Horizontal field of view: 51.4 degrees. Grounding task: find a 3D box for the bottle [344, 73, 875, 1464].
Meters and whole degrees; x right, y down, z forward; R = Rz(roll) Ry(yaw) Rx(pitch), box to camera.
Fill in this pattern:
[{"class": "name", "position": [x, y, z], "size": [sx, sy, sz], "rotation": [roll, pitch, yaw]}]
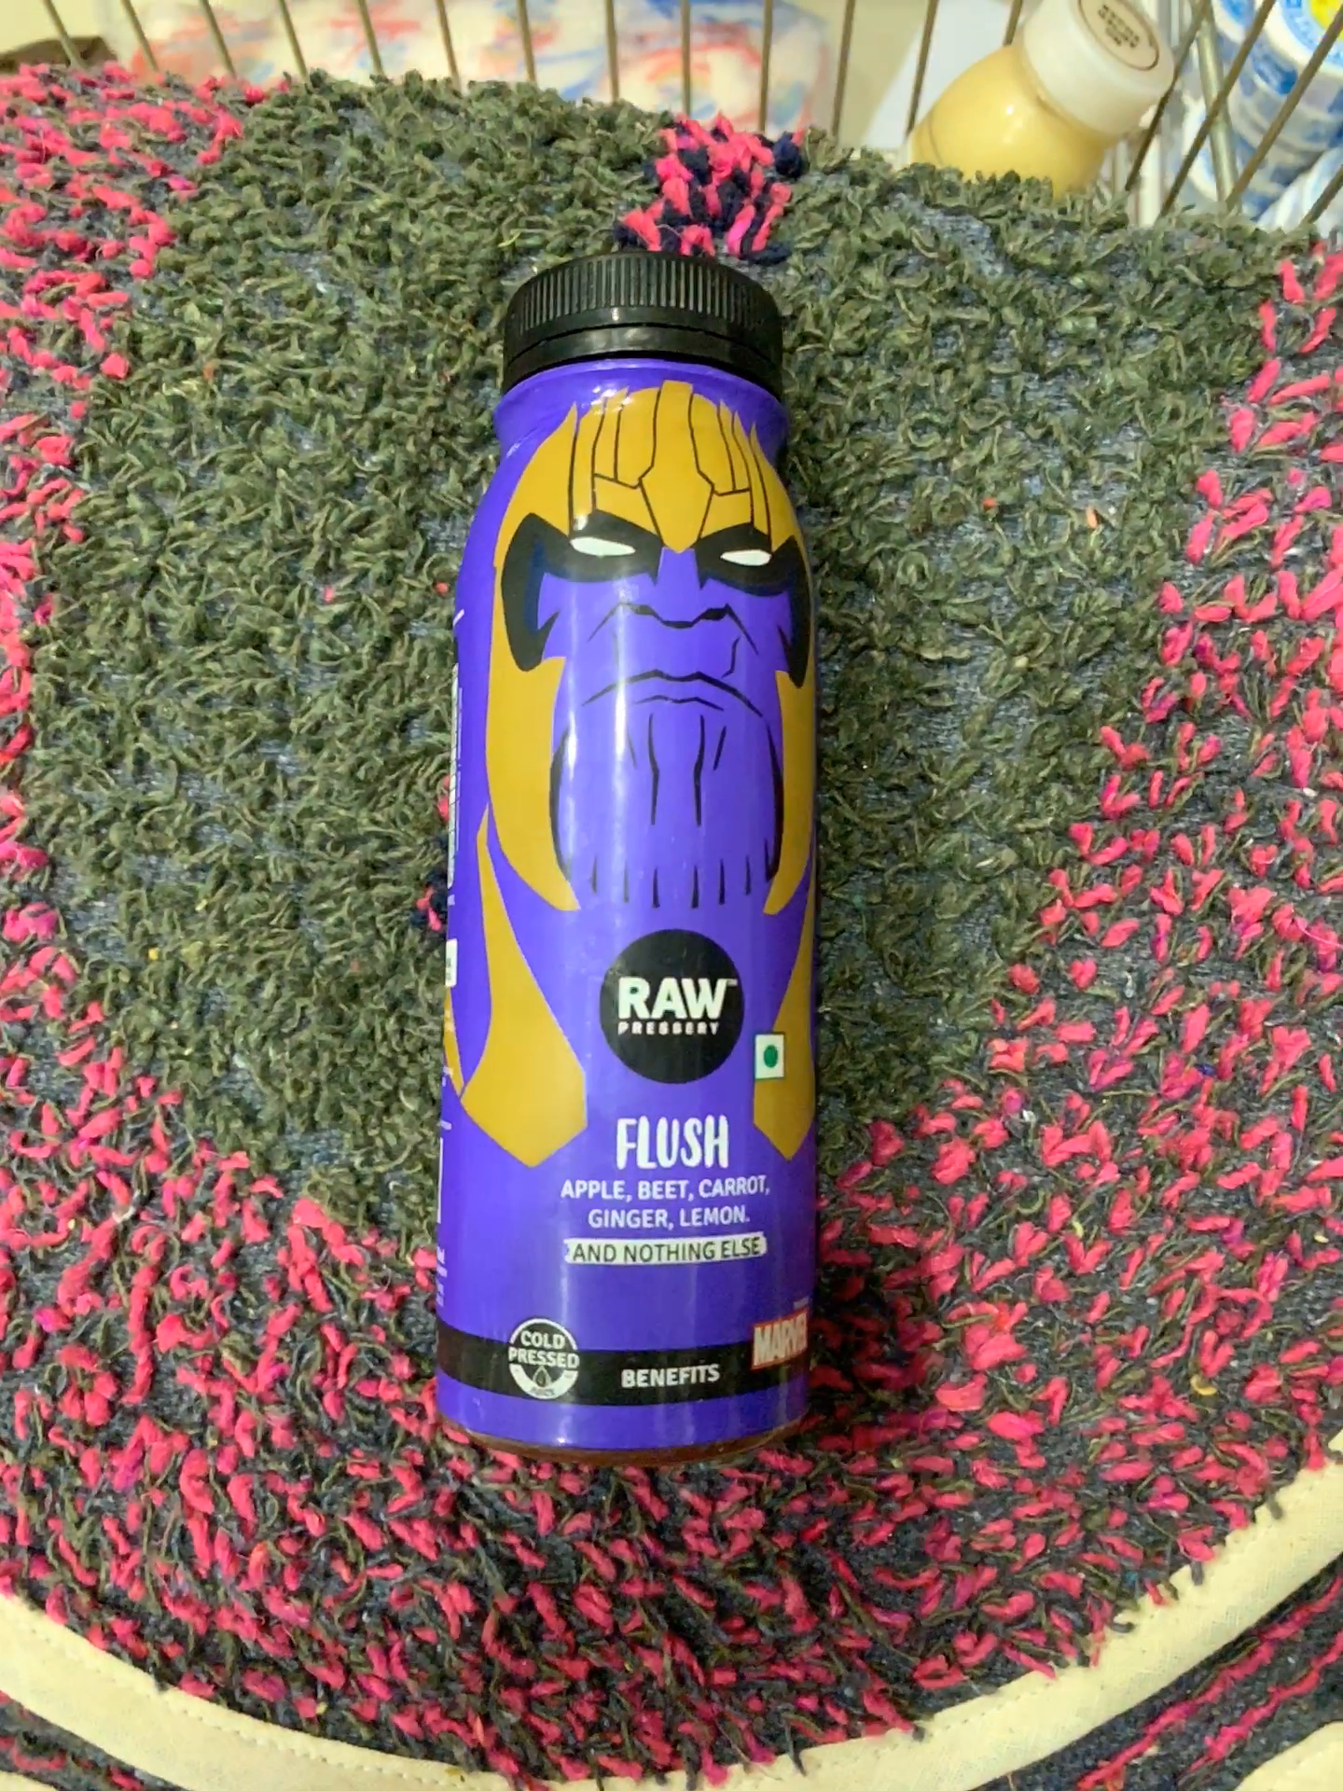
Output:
[{"class": "bottle", "position": [-0.008, -0.016, 0.195], "size": [0.060, 0.050, 0.170], "rotation": [2, 83, -6]}]
